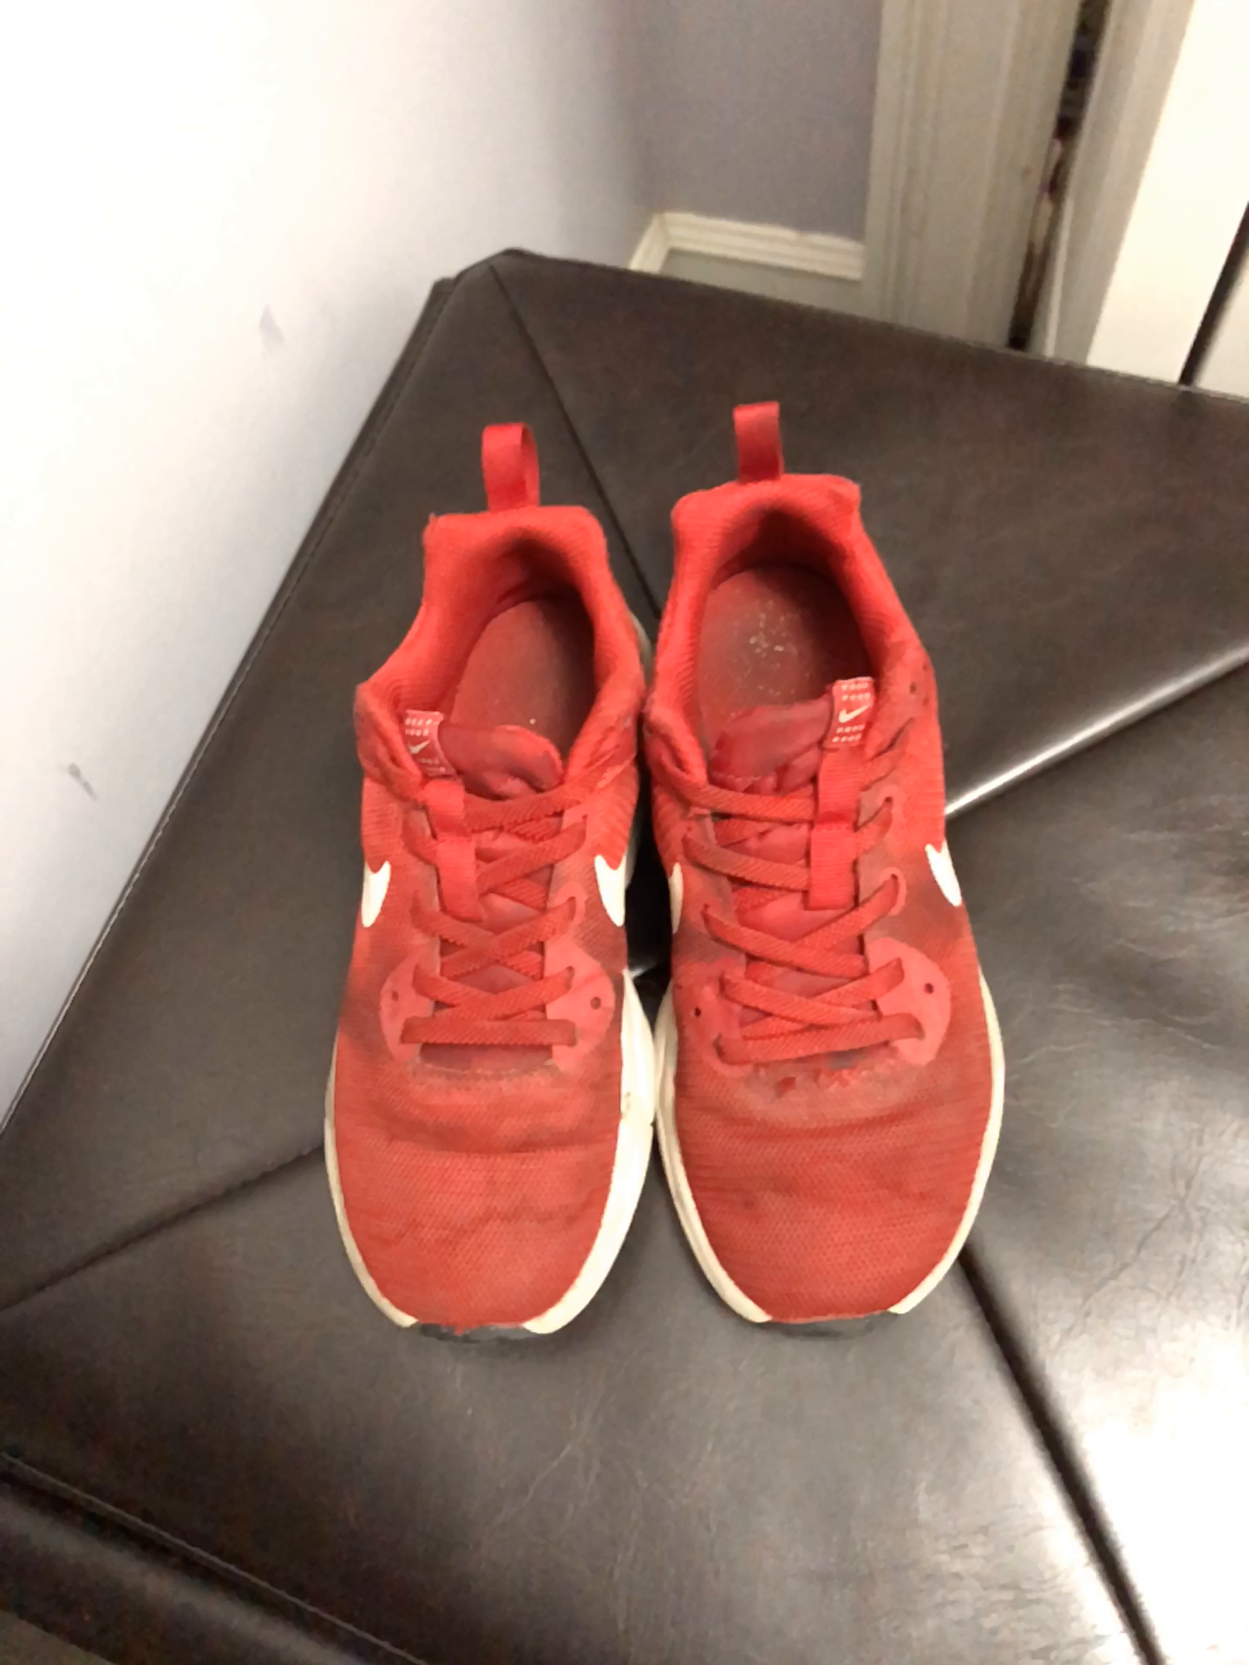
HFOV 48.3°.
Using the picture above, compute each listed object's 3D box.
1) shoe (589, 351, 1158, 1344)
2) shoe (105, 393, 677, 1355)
[{"bbox_3d":[0.050,0.008,0.348,0.095,0.100,0.220,-5,69,4],"label":"shoe"},{"bbox_3d":[-0.043,0.012,0.355,0.095,0.100,0.220,2,70,7],"label":"shoe"}]
